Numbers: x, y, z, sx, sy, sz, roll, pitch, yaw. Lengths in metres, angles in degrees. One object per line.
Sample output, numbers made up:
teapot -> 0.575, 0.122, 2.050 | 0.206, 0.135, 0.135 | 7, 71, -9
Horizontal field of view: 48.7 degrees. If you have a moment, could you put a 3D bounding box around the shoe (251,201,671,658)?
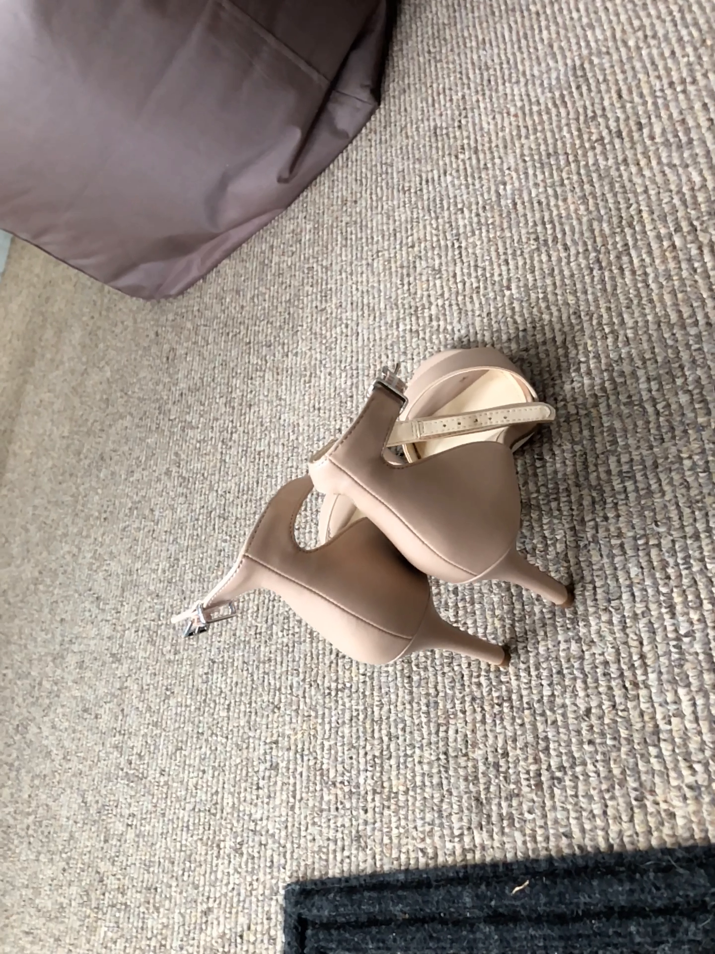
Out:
shoe -> 0.048, -0.029, 0.449 | 0.099, 0.154, 0.207 | -43, 42, 20

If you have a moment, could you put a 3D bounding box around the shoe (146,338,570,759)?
shoe -> -0.011, 0.035, 0.462 | 0.105, 0.144, 0.207 | -51, 40, 10
